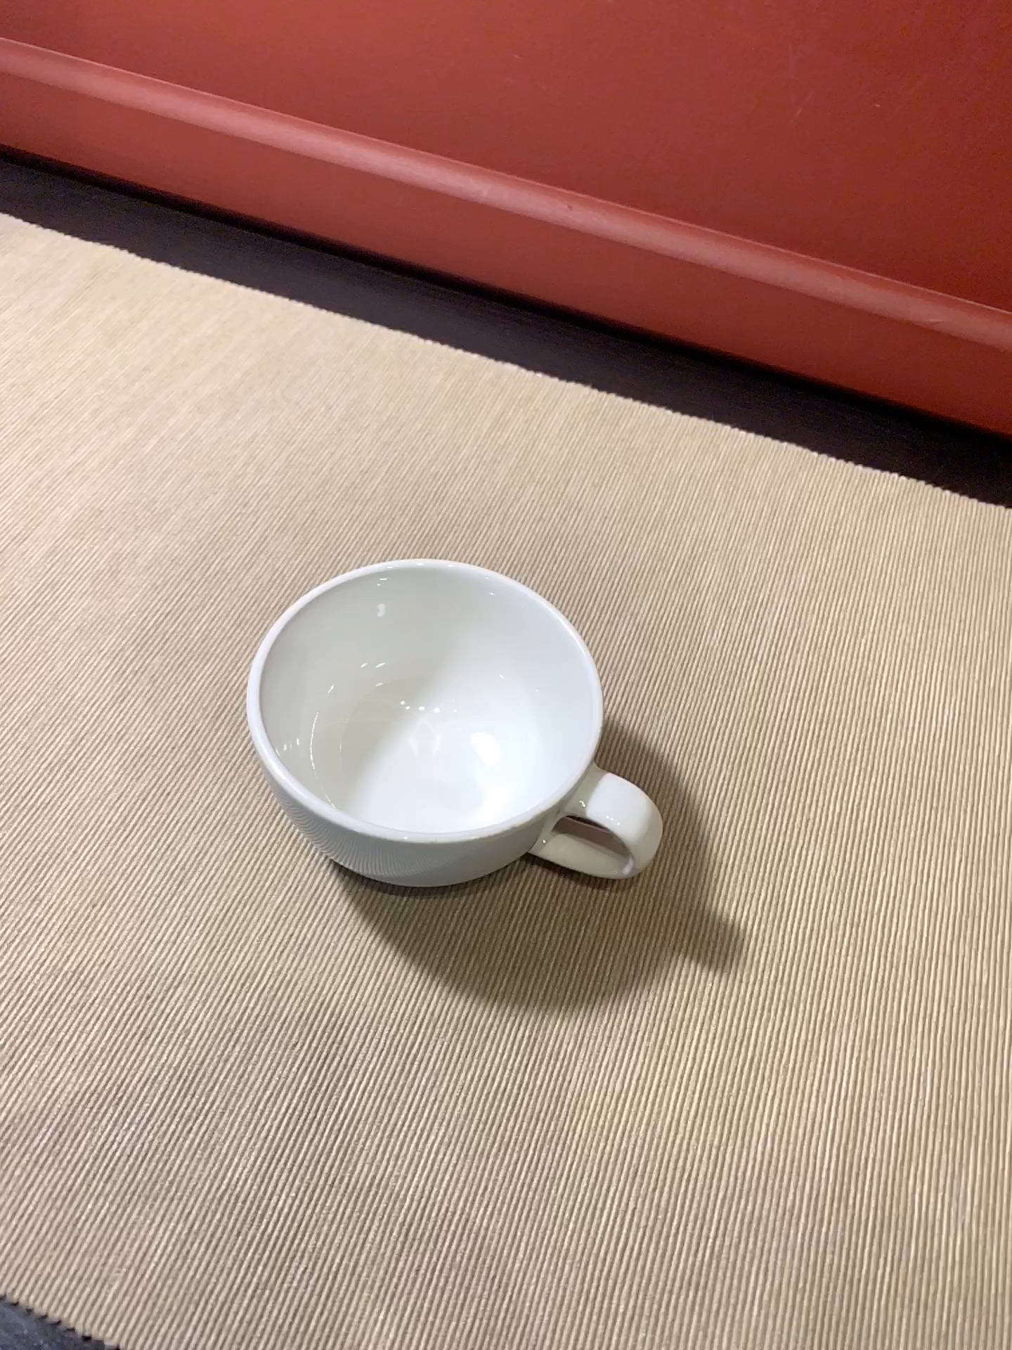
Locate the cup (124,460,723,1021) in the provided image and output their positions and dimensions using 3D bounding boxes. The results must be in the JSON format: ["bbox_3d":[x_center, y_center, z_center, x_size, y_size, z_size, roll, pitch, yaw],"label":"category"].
[{"bbox_3d":[-0.018,0.012,0.269,0.110,0.060,0.090,25,52,14],"label":"cup"}]
